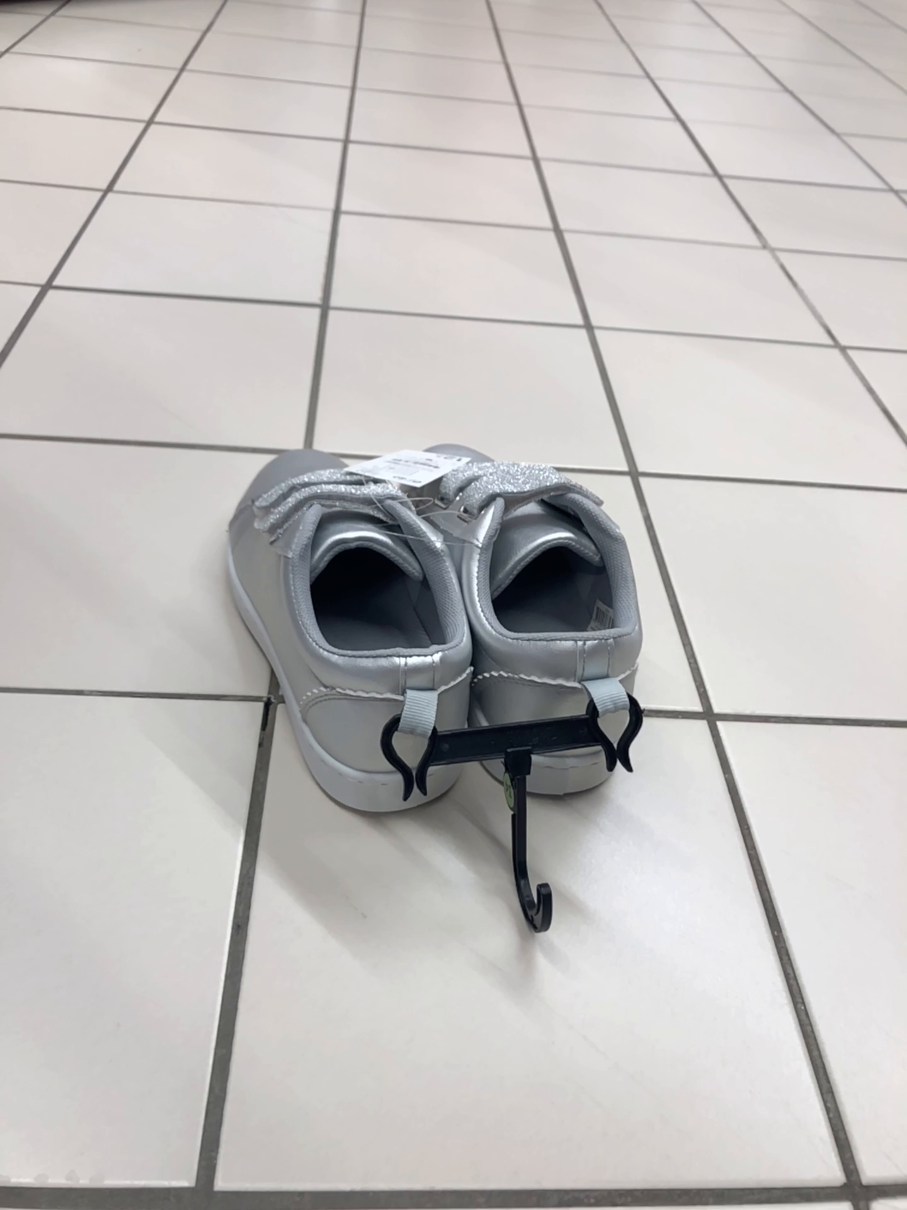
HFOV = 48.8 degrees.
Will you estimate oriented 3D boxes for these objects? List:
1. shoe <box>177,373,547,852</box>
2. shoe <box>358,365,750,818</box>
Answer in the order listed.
[{"bbox_3d":[-0.054,-0.011,0.454,0.091,0.085,0.215,-12,44,-21],"label":"shoe"},{"bbox_3d":[0.031,-0.020,0.474,0.091,0.085,0.215,-10,43,-19],"label":"shoe"}]
